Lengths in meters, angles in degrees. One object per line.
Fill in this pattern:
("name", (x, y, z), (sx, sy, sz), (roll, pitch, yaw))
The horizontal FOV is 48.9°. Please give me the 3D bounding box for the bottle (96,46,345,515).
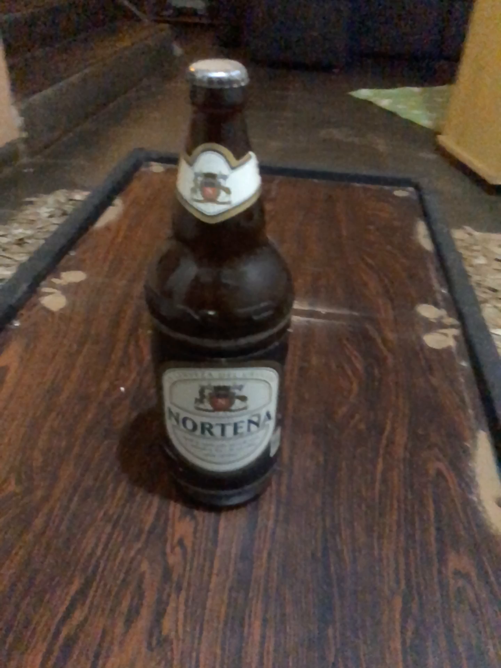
("bottle", (-0.021, -0.018, 0.339), (0.100, 0.268, 0.101), (2, 35, -1))
